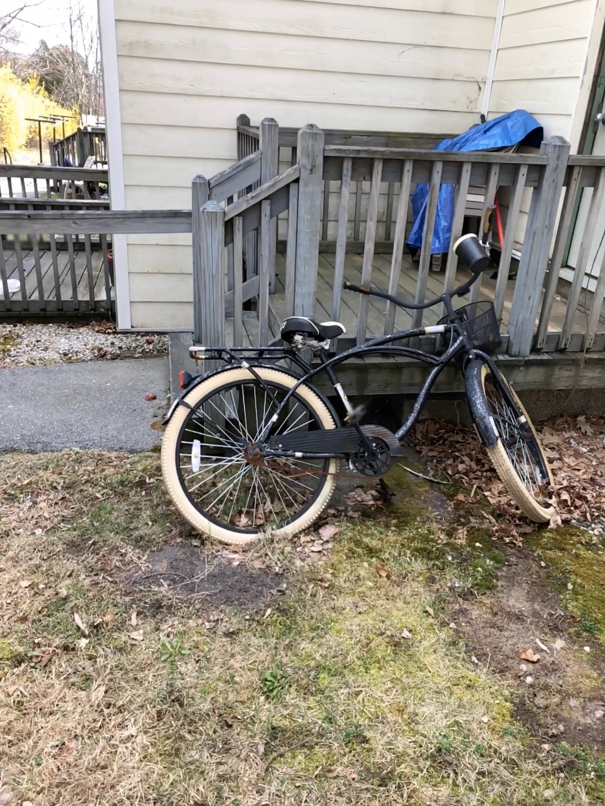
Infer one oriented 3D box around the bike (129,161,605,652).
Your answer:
[{"bbox_3d":[0.417,-0.103,2.438,1.611,1.314,0.941,-10,27,-21],"label":"bike"}]
